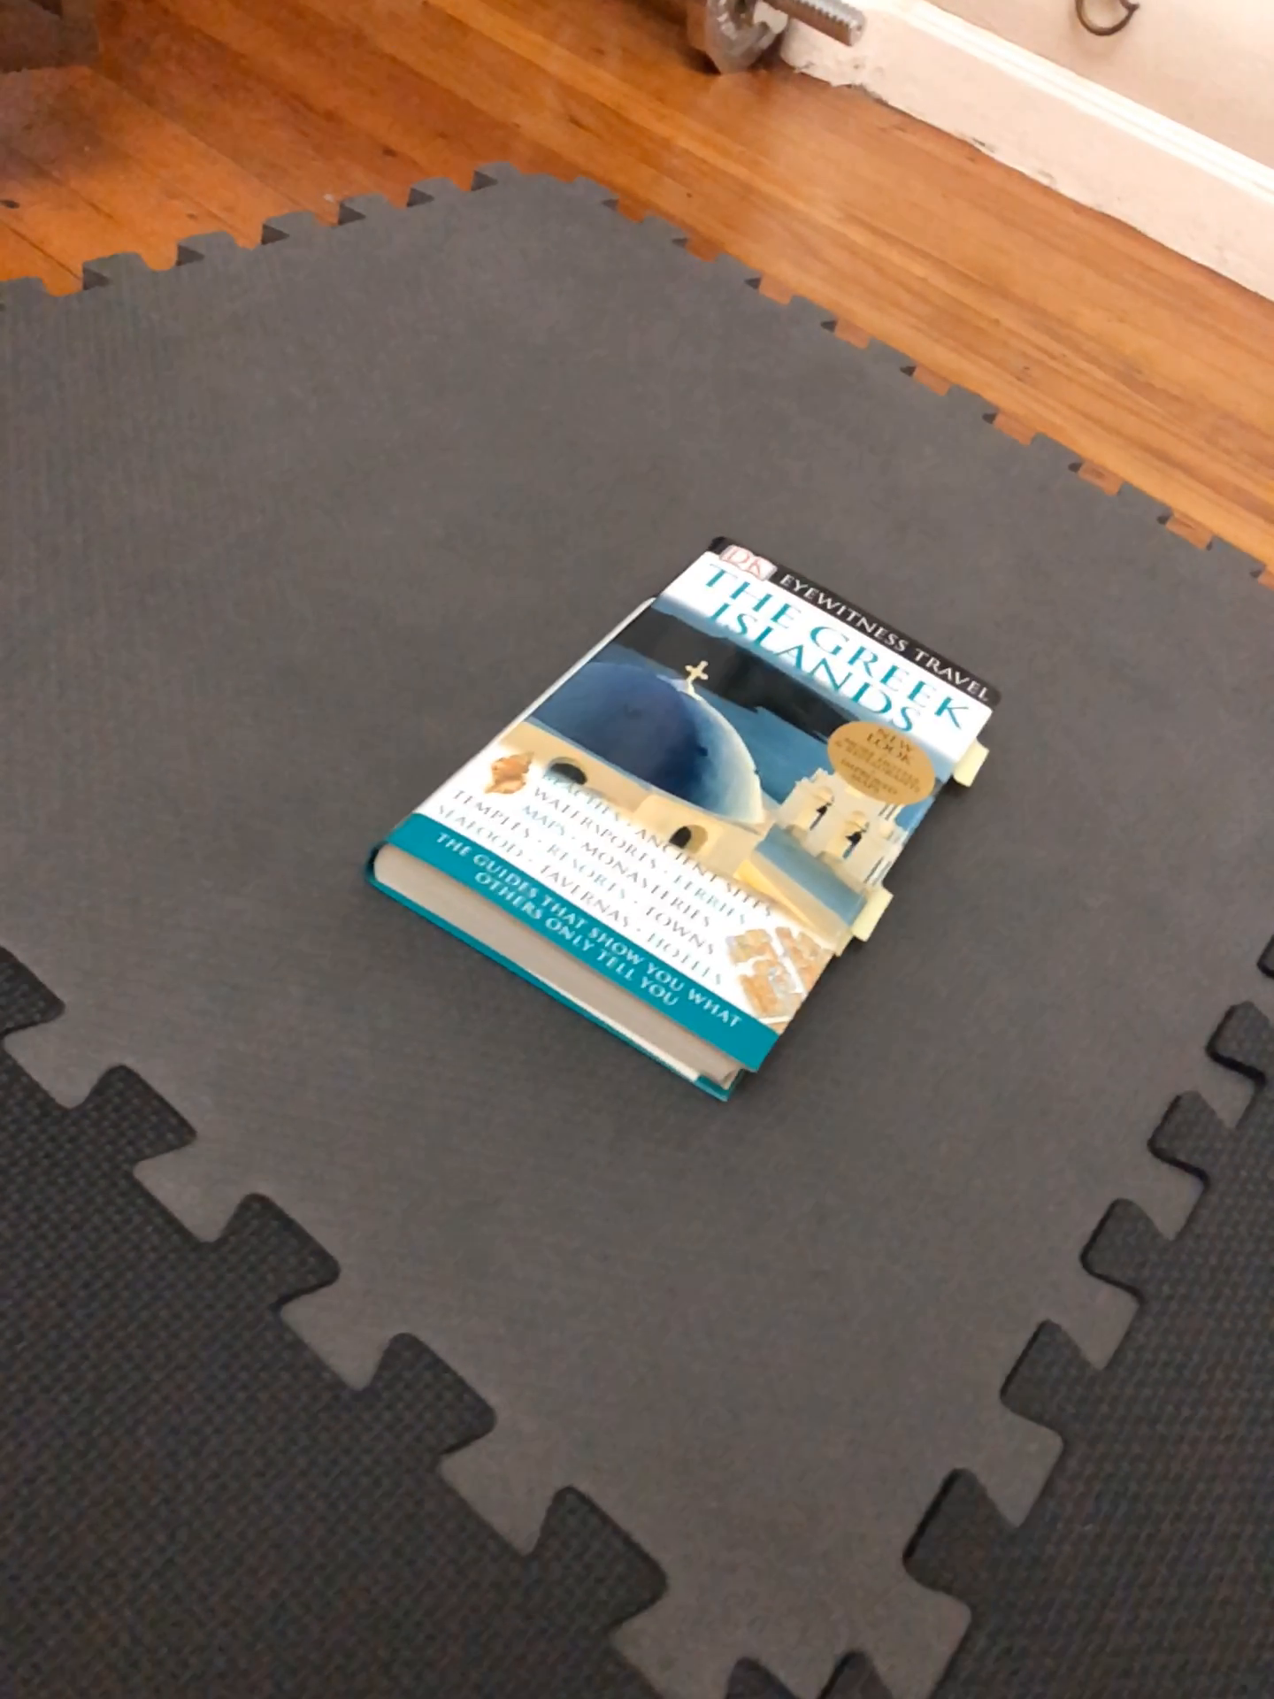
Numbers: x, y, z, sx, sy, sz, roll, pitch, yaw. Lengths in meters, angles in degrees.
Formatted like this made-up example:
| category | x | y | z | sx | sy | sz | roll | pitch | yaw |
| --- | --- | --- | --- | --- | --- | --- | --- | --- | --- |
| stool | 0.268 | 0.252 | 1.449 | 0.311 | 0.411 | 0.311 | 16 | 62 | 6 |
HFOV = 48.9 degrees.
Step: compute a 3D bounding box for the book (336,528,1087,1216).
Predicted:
| category | x | y | z | sx | sy | sz | roll | pitch | yaw |
| --- | --- | --- | --- | --- | --- | --- | --- | --- | --- |
| book | 0.040 | -0.014 | 0.478 | 0.160 | 0.030 | 0.241 | 31 | 46 | 13 |
